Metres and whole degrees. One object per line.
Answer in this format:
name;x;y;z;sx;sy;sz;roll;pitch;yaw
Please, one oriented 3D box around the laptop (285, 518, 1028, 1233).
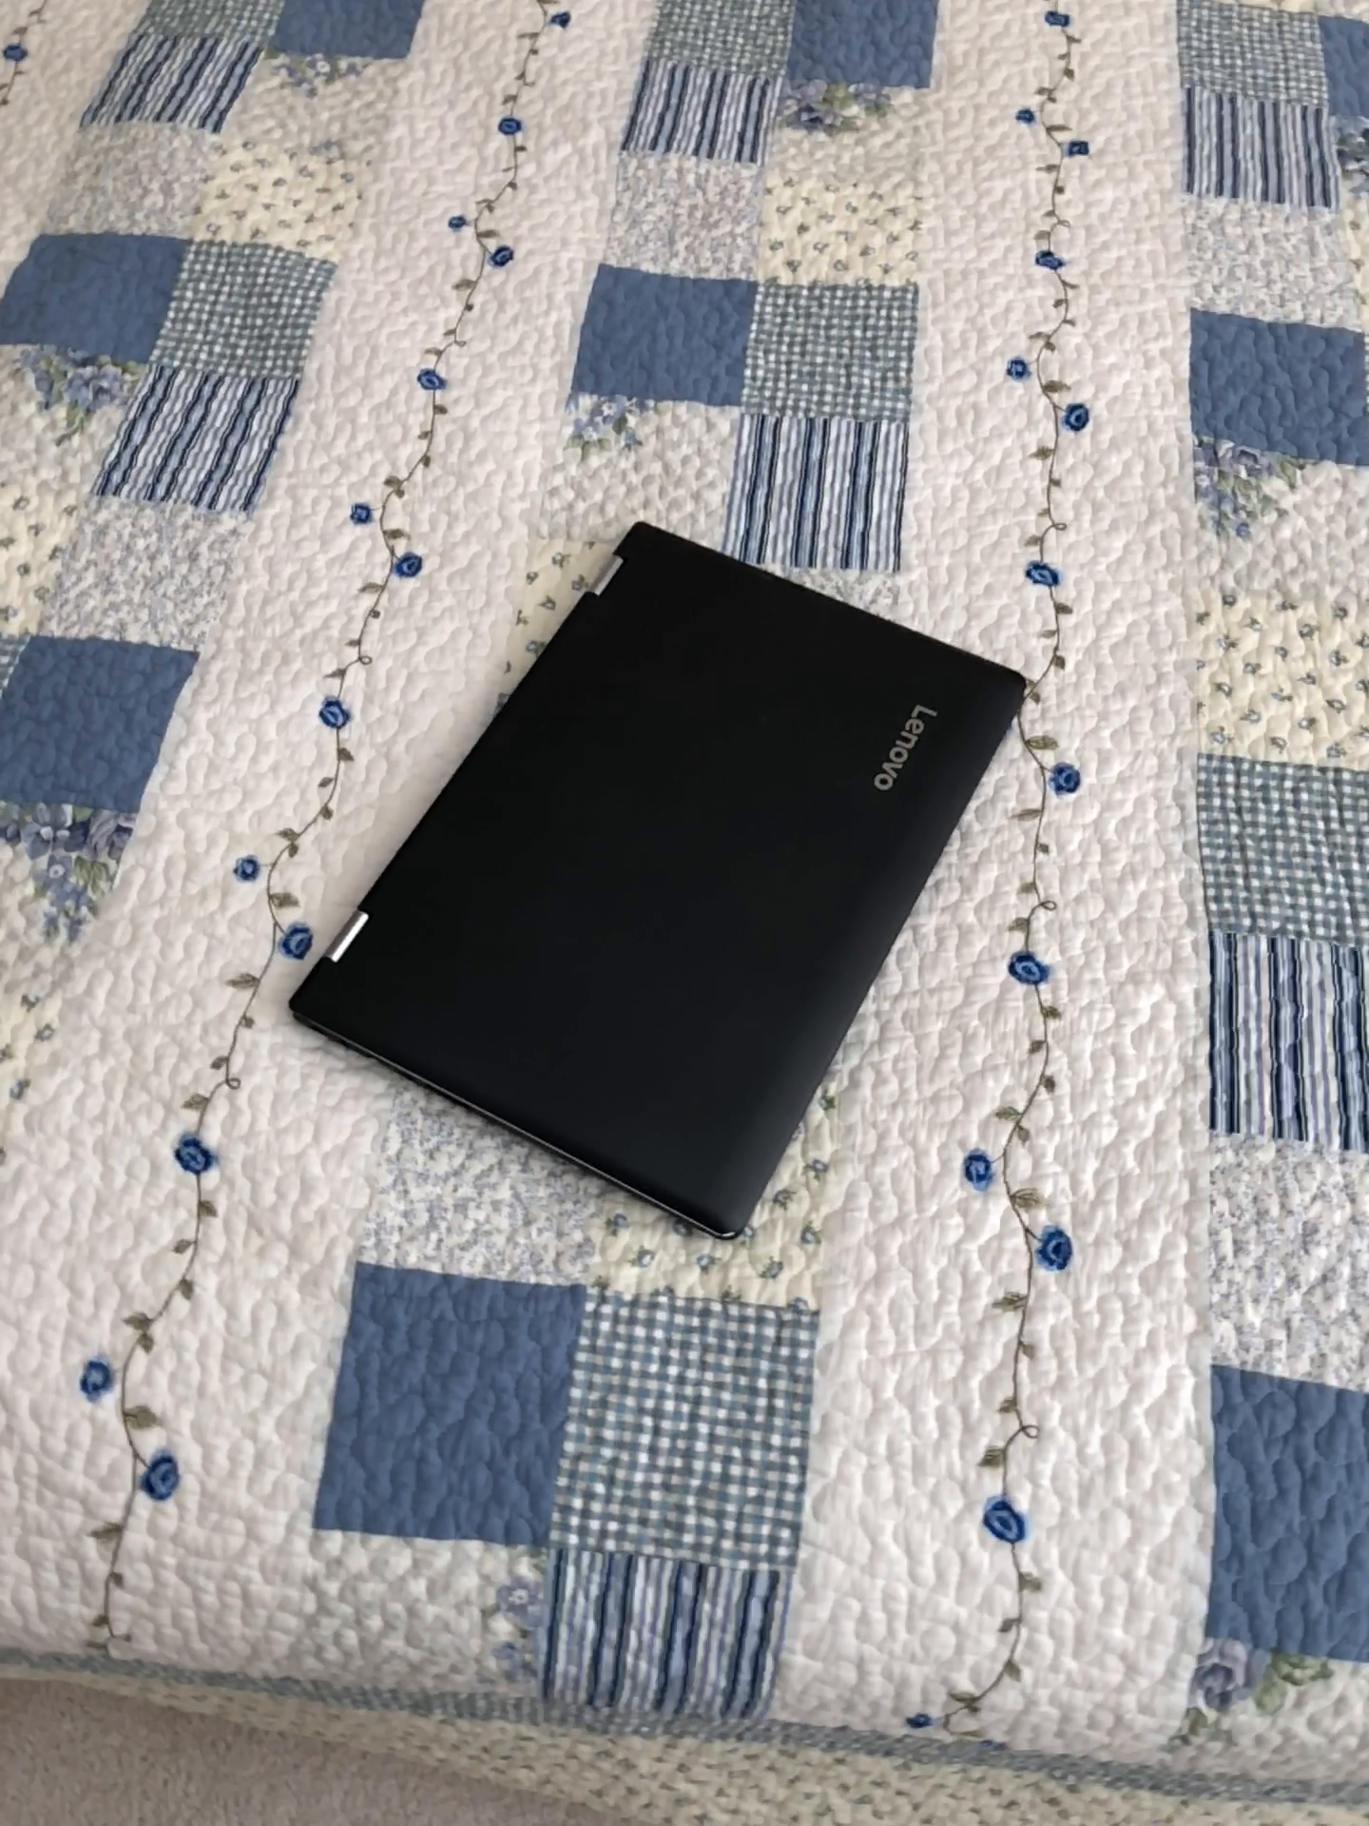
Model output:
laptop;-0.003;-0.040;0.711;0.224;0.008;0.321;24;64;15
